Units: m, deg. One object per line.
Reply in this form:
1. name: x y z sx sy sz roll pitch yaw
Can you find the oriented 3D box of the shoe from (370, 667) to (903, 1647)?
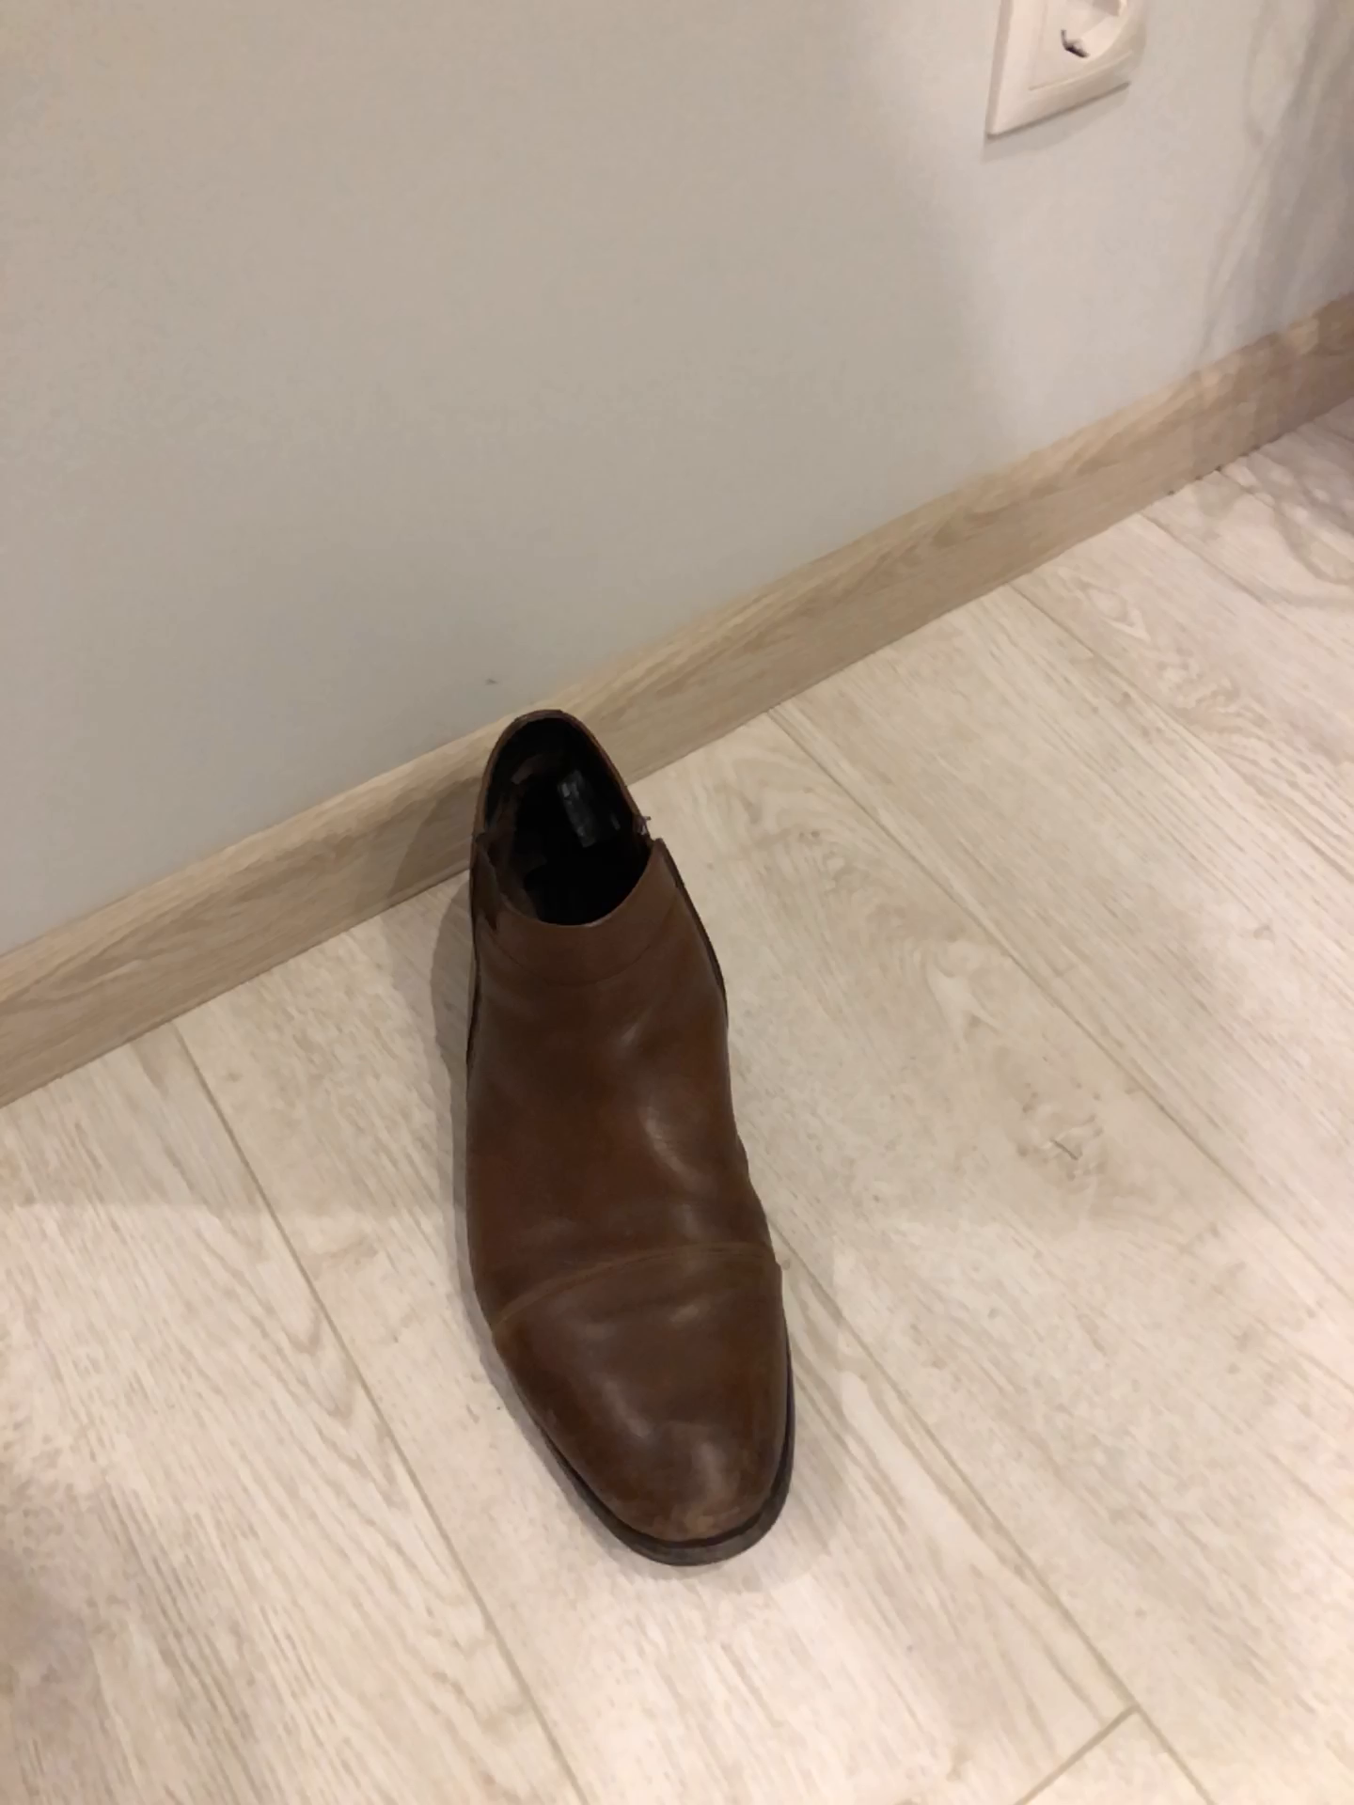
1. shoe: -0.028 0.071 0.526 0.120 0.109 0.312 -10 52 -6
